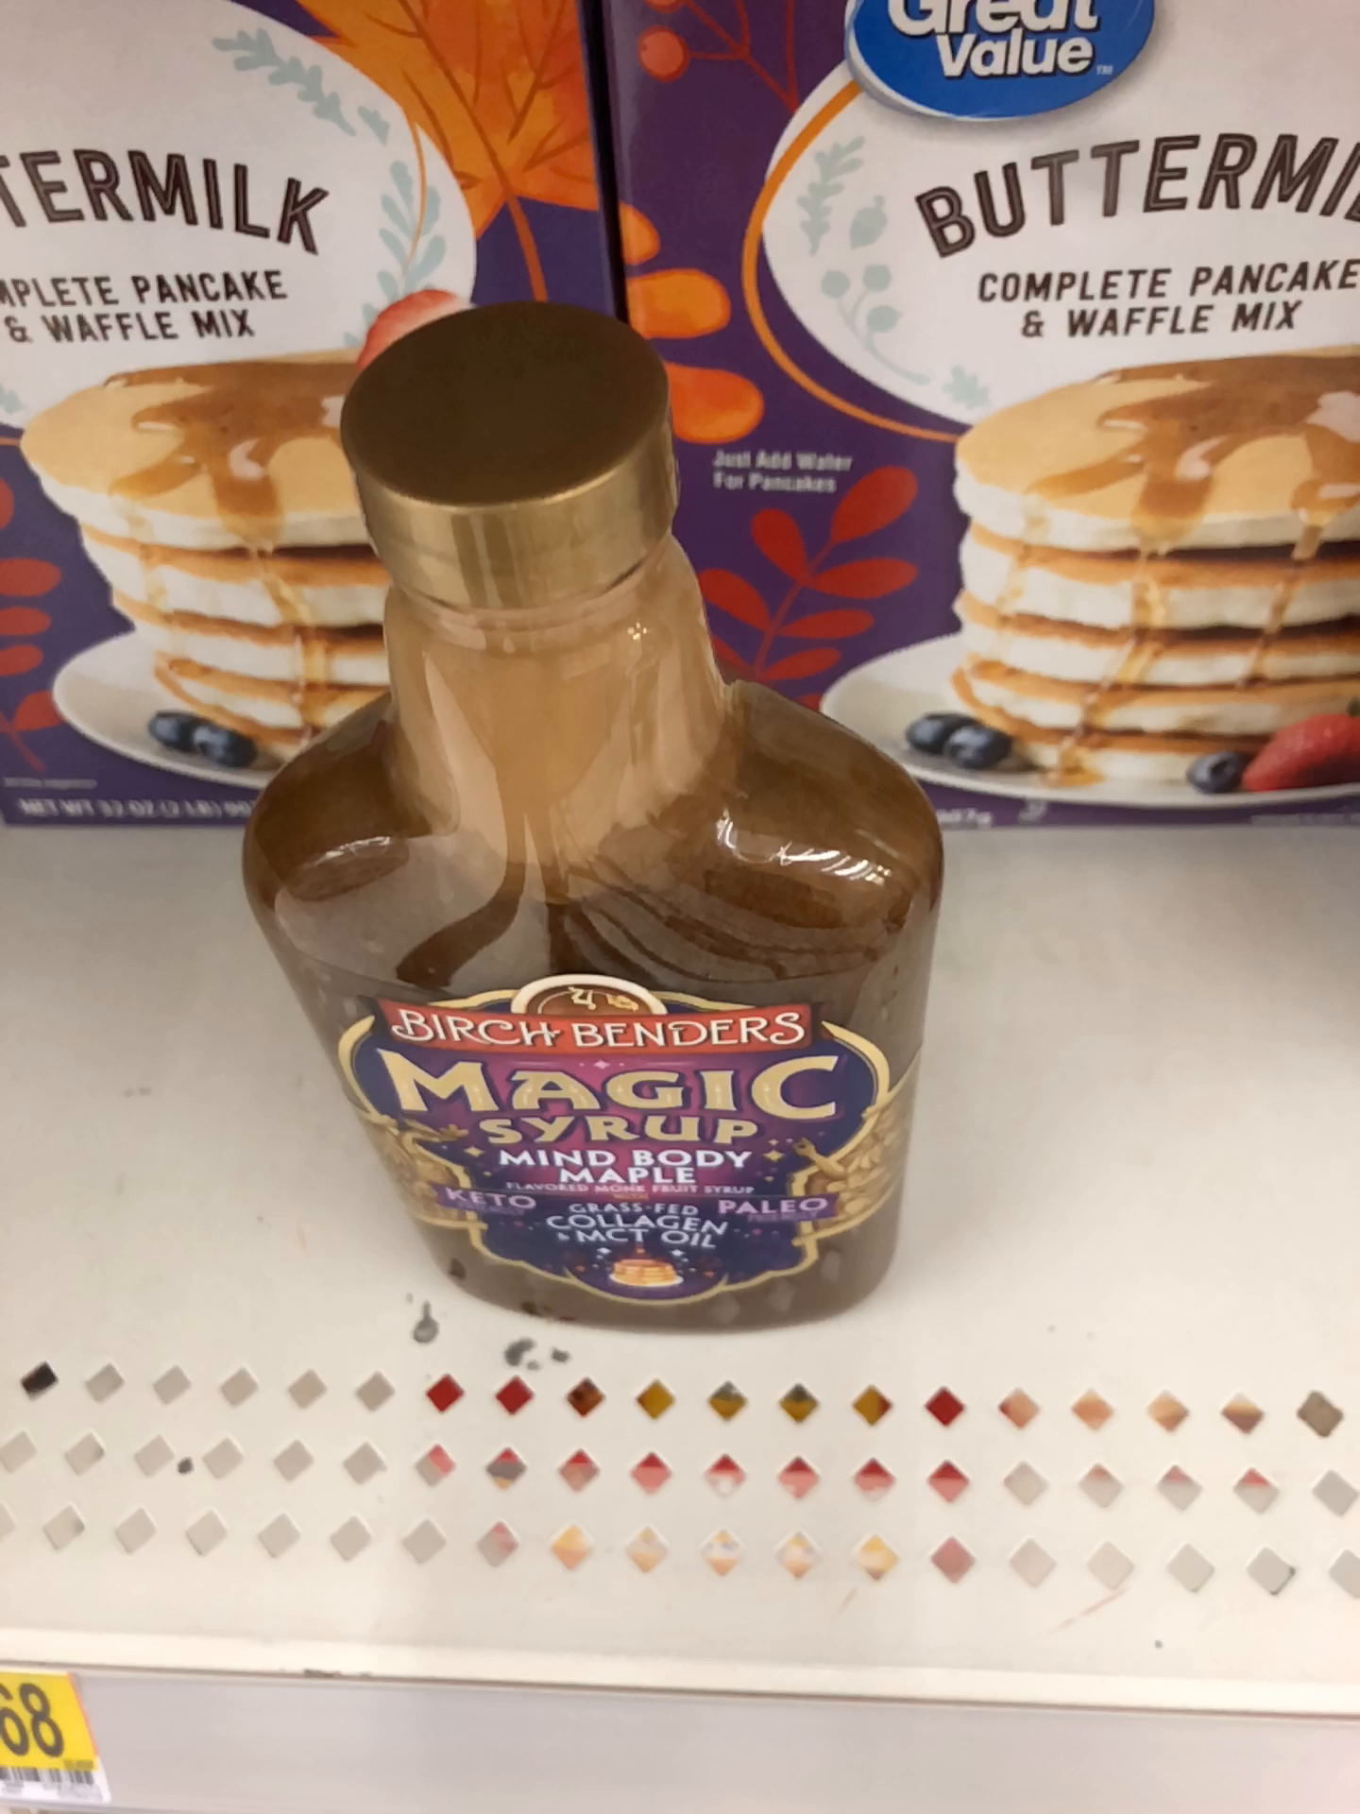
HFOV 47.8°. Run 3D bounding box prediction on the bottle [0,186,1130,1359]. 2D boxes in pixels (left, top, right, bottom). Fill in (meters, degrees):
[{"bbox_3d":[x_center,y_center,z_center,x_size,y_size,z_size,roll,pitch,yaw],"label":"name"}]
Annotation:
[{"bbox_3d":[-0.008,0.003,0.206,0.100,0.180,0.050,3,56,6],"label":"bottle"}]
